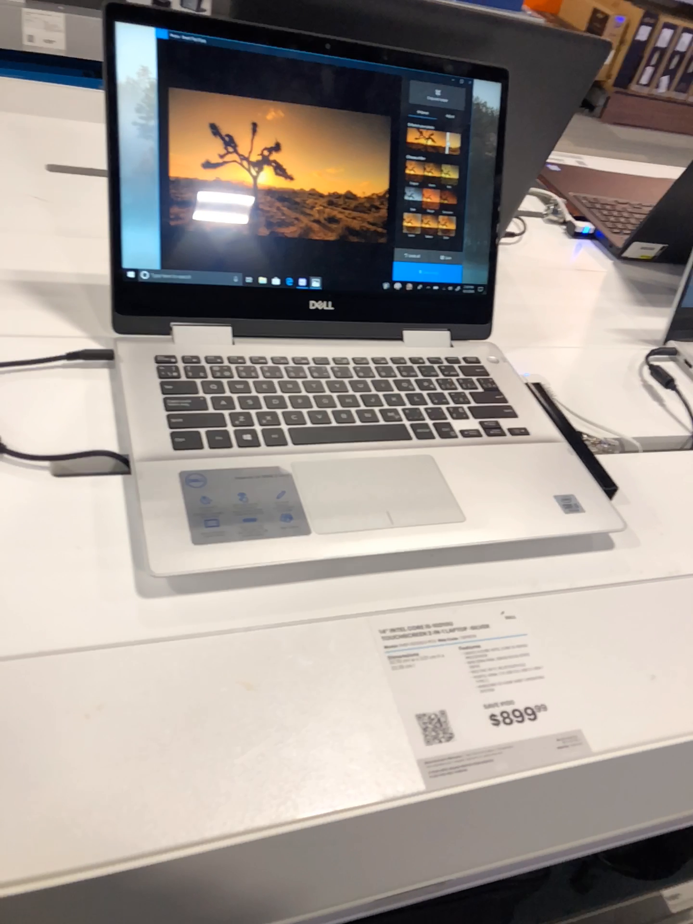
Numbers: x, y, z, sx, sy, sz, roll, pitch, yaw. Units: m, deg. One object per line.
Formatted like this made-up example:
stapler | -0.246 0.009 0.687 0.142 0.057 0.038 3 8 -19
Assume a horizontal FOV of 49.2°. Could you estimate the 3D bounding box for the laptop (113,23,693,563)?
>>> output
laptop | 0.018 -0.128 0.513 0.311 0.195 0.328 -2 42 -19
